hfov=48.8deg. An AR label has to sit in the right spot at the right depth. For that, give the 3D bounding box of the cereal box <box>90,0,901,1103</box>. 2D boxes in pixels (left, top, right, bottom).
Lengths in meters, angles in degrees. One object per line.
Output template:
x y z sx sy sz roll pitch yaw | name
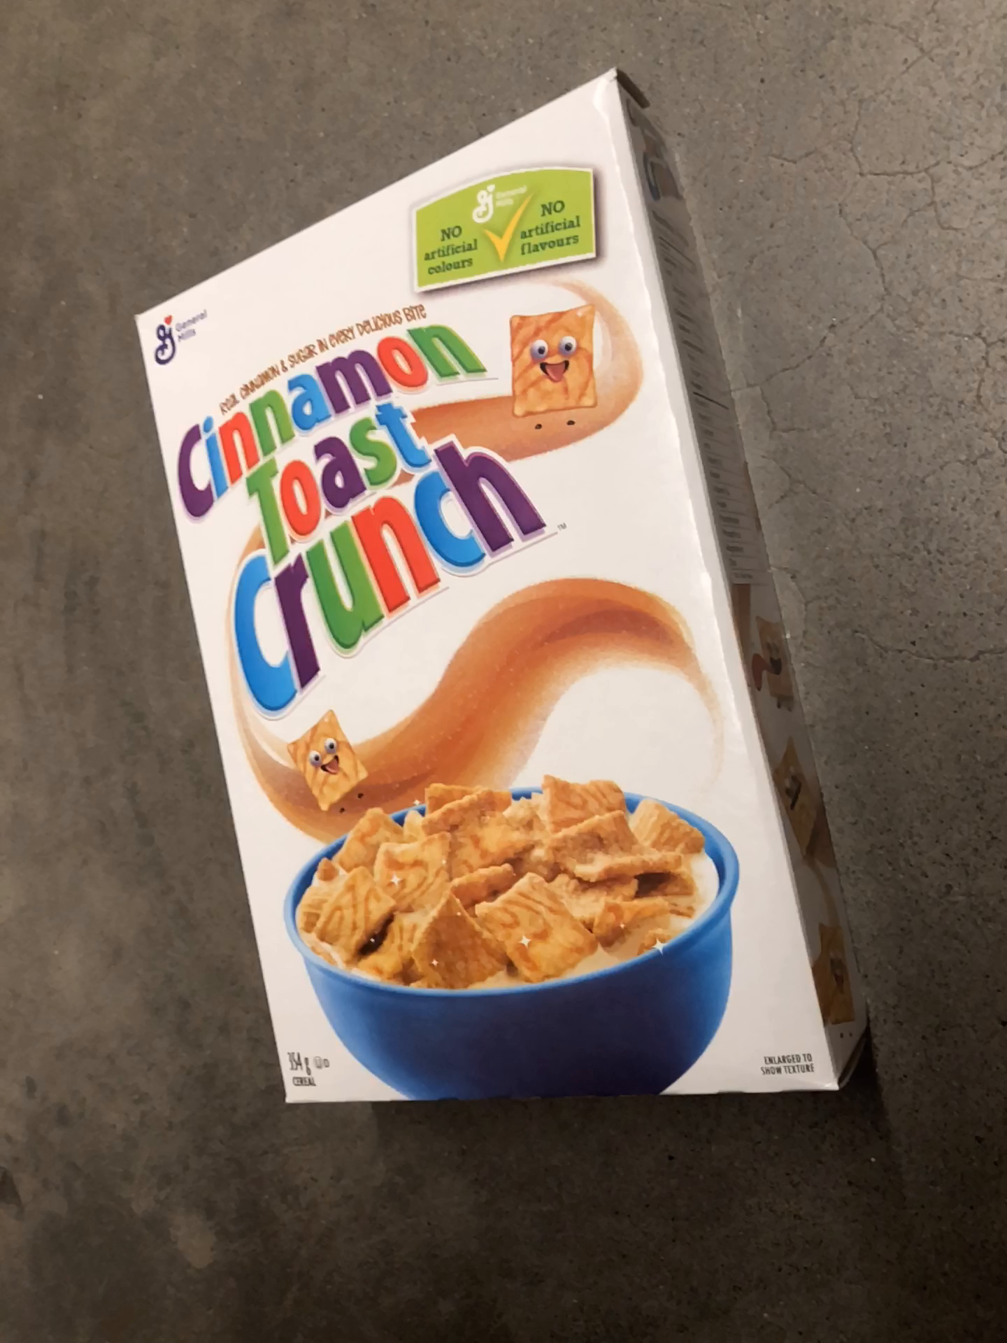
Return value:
-0.013 -0.017 0.360 0.201 0.060 0.290 -14 88 31 | cereal box
